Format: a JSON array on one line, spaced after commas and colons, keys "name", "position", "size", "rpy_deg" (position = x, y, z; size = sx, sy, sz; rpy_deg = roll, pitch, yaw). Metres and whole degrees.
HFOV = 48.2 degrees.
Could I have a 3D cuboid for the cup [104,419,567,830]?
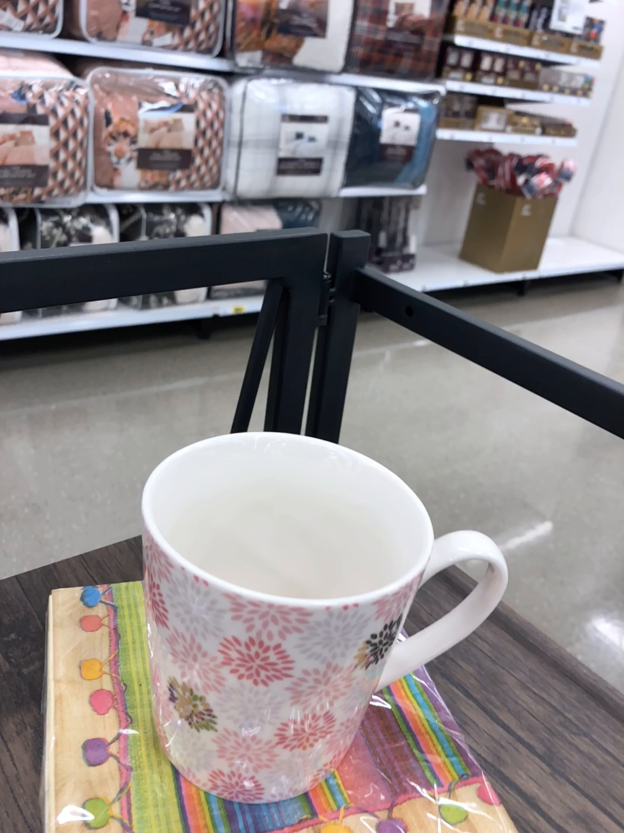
[{"name": "cup", "position": [-0.004, 0.069, 0.268], "size": [0.140, 0.100, 0.100], "rpy_deg": [0, 29, -14]}]
